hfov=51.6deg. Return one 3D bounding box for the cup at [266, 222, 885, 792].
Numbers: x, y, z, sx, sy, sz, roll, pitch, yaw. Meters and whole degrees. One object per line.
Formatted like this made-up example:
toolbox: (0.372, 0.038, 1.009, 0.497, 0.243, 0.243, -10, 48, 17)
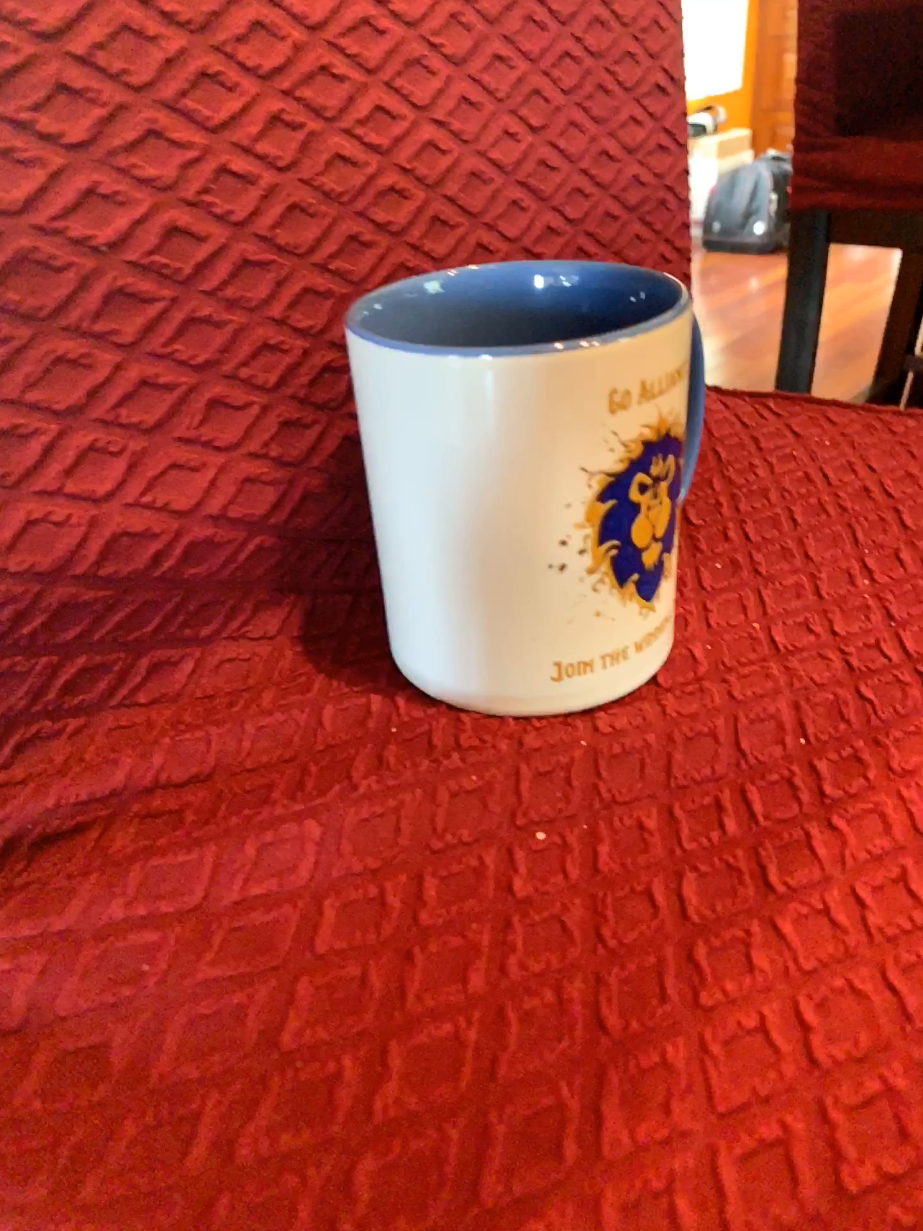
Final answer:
cup: (0.035, -0.044, 0.273, 0.100, 0.099, 0.130, 25, 42, 38)
